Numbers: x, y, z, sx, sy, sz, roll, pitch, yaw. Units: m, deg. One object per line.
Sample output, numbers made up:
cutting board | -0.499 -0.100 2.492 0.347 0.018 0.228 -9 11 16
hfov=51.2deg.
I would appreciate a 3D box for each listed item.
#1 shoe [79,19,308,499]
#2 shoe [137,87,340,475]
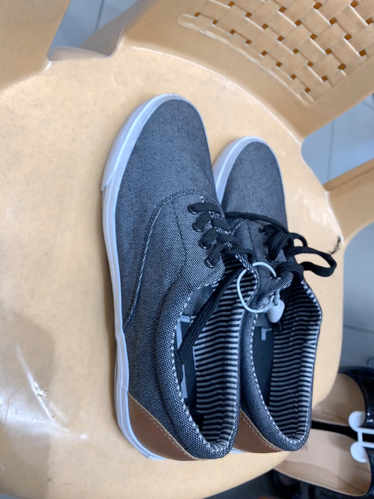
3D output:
shoe | 0.004 0.014 0.268 0.100 0.110 0.260 8 81 -33
shoe | 0.047 0.025 0.345 0.110 0.110 0.270 12 79 -32
